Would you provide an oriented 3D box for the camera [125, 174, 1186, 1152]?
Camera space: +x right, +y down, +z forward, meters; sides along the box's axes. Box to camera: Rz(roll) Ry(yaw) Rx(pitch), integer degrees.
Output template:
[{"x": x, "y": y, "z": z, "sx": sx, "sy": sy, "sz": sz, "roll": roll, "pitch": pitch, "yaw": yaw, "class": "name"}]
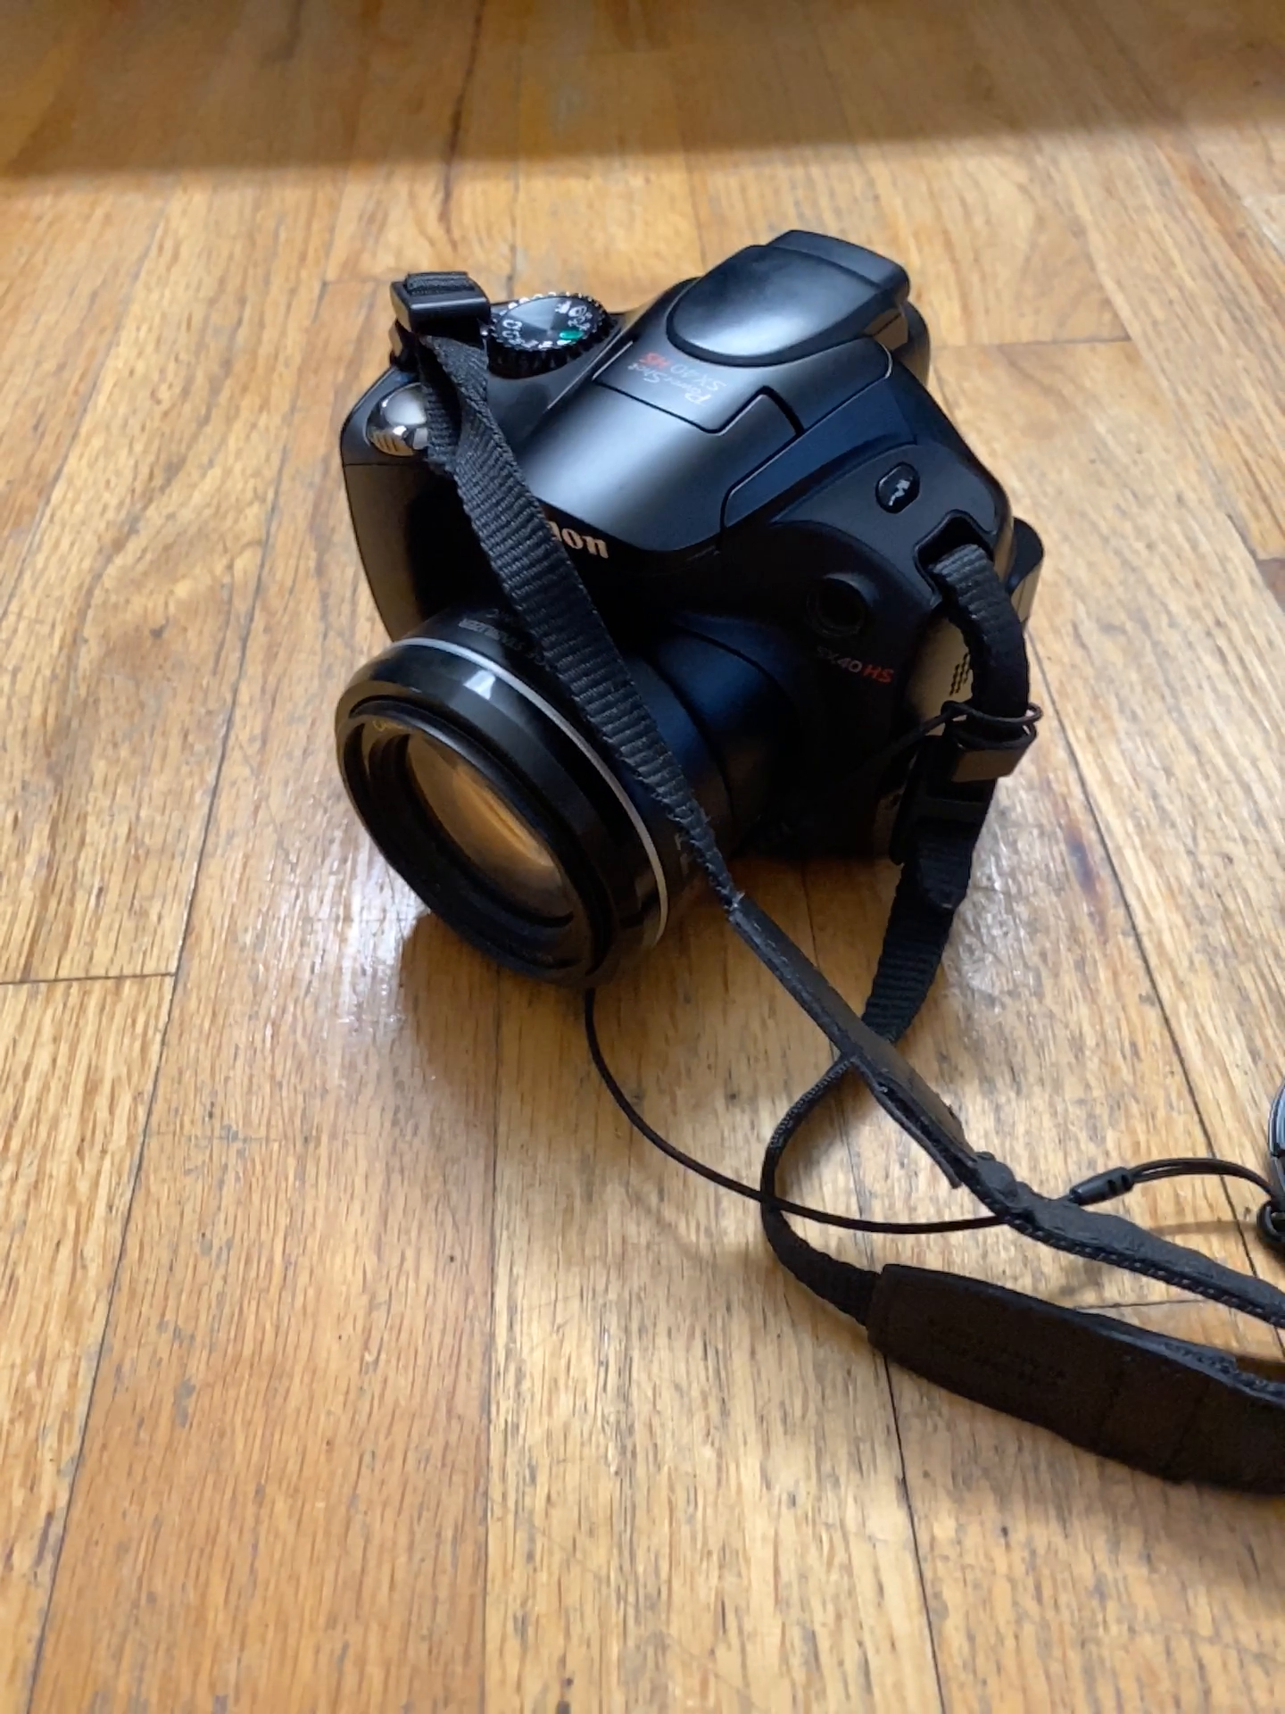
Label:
[{"x": 0.003, "y": -0.044, "z": 0.247, "sx": 0.120, "sy": 0.090, "sz": 0.120, "roll": 34, "pitch": 57, "yaw": 26, "class": "camera"}]
